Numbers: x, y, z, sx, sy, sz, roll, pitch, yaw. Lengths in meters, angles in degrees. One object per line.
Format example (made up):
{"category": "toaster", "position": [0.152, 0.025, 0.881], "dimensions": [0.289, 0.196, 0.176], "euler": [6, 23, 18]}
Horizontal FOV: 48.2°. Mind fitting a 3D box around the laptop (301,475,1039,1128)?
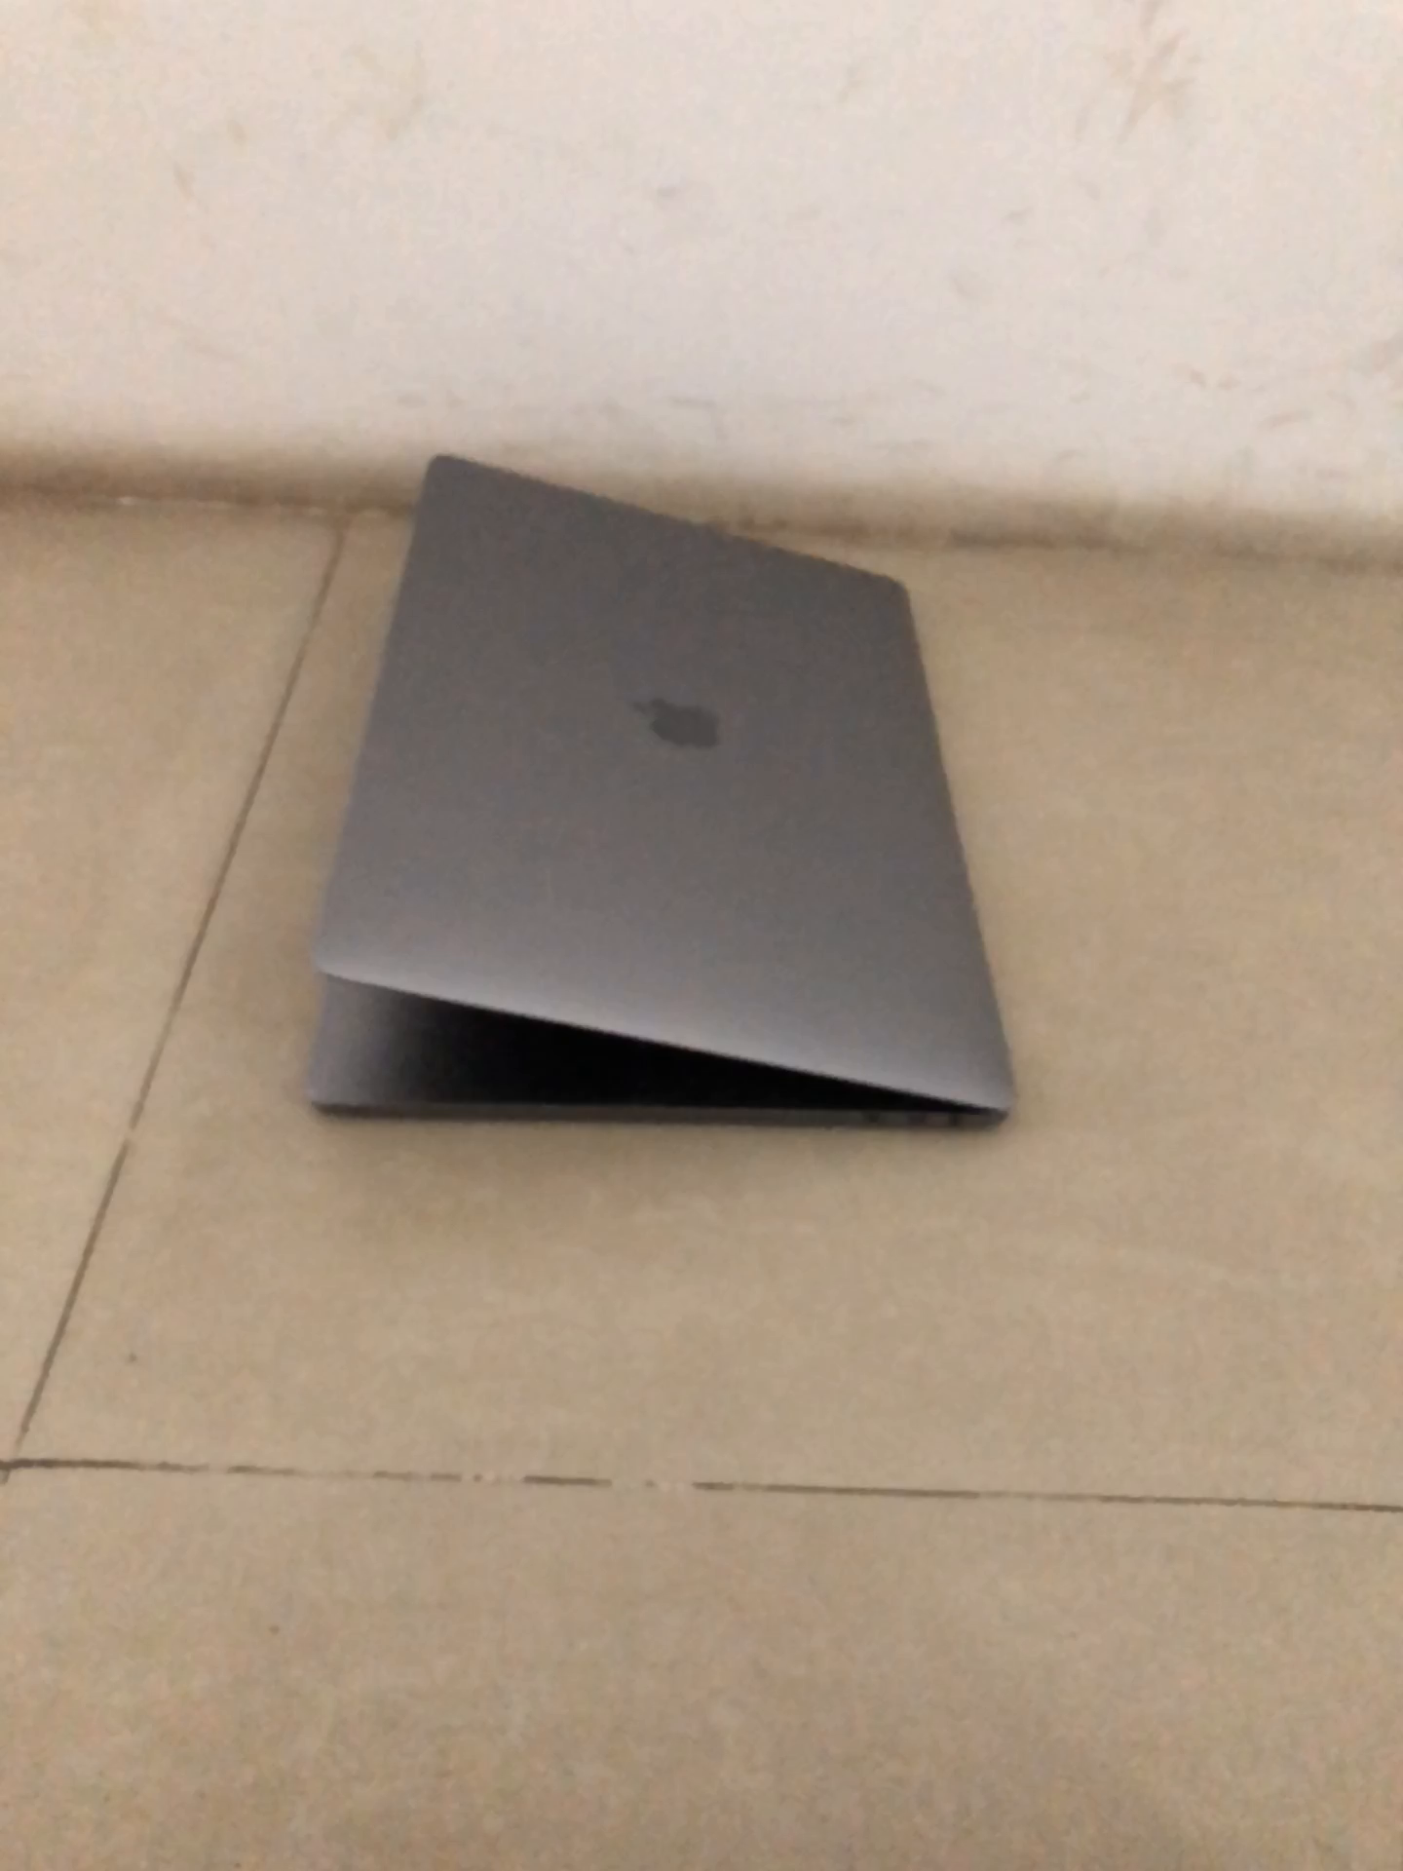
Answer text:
{"category": "laptop", "position": [-0.011, -0.075, 0.633], "dimensions": [0.232, 0.057, 0.337], "euler": [2, 43, -2]}
